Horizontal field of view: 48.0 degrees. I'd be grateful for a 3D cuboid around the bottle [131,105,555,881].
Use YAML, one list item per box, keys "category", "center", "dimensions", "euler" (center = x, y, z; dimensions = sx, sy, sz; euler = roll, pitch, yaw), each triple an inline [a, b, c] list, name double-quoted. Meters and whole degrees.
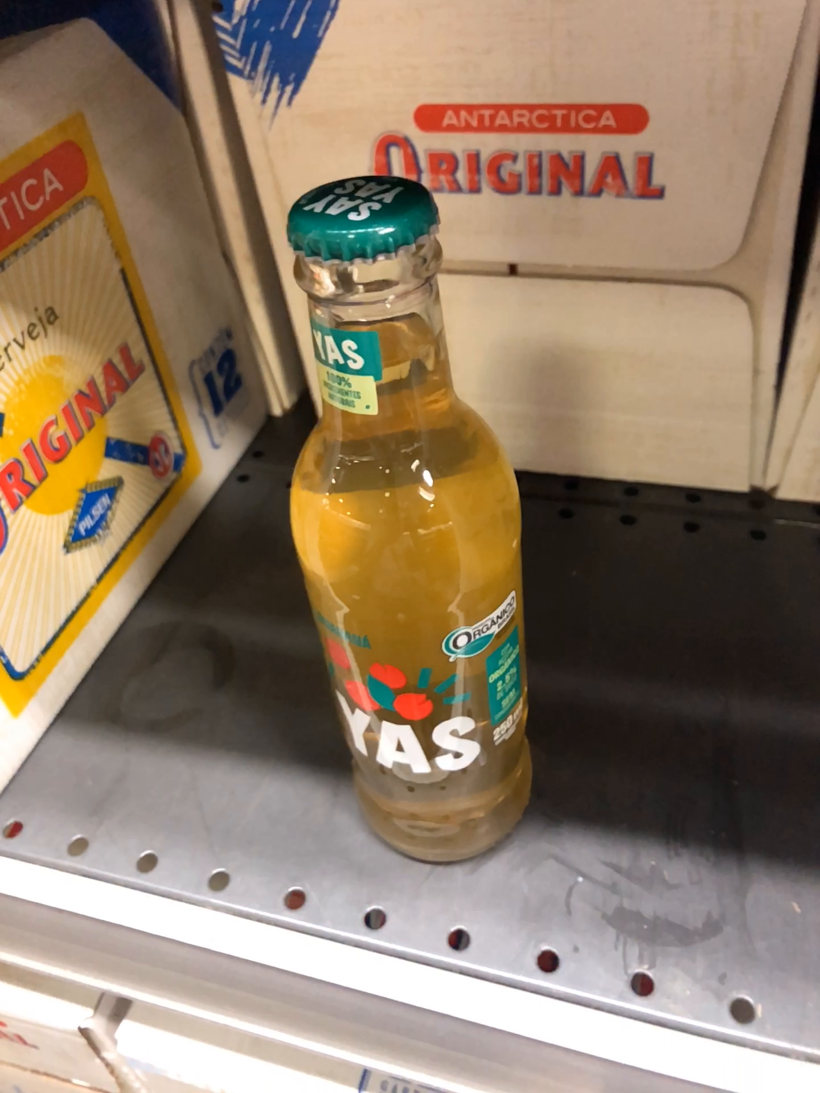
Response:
- category: "bottle"
  center: [0.002, 0.004, 0.233]
  dimensions: [0.060, 0.198, 0.060]
  euler: [-5, 43, 5]
